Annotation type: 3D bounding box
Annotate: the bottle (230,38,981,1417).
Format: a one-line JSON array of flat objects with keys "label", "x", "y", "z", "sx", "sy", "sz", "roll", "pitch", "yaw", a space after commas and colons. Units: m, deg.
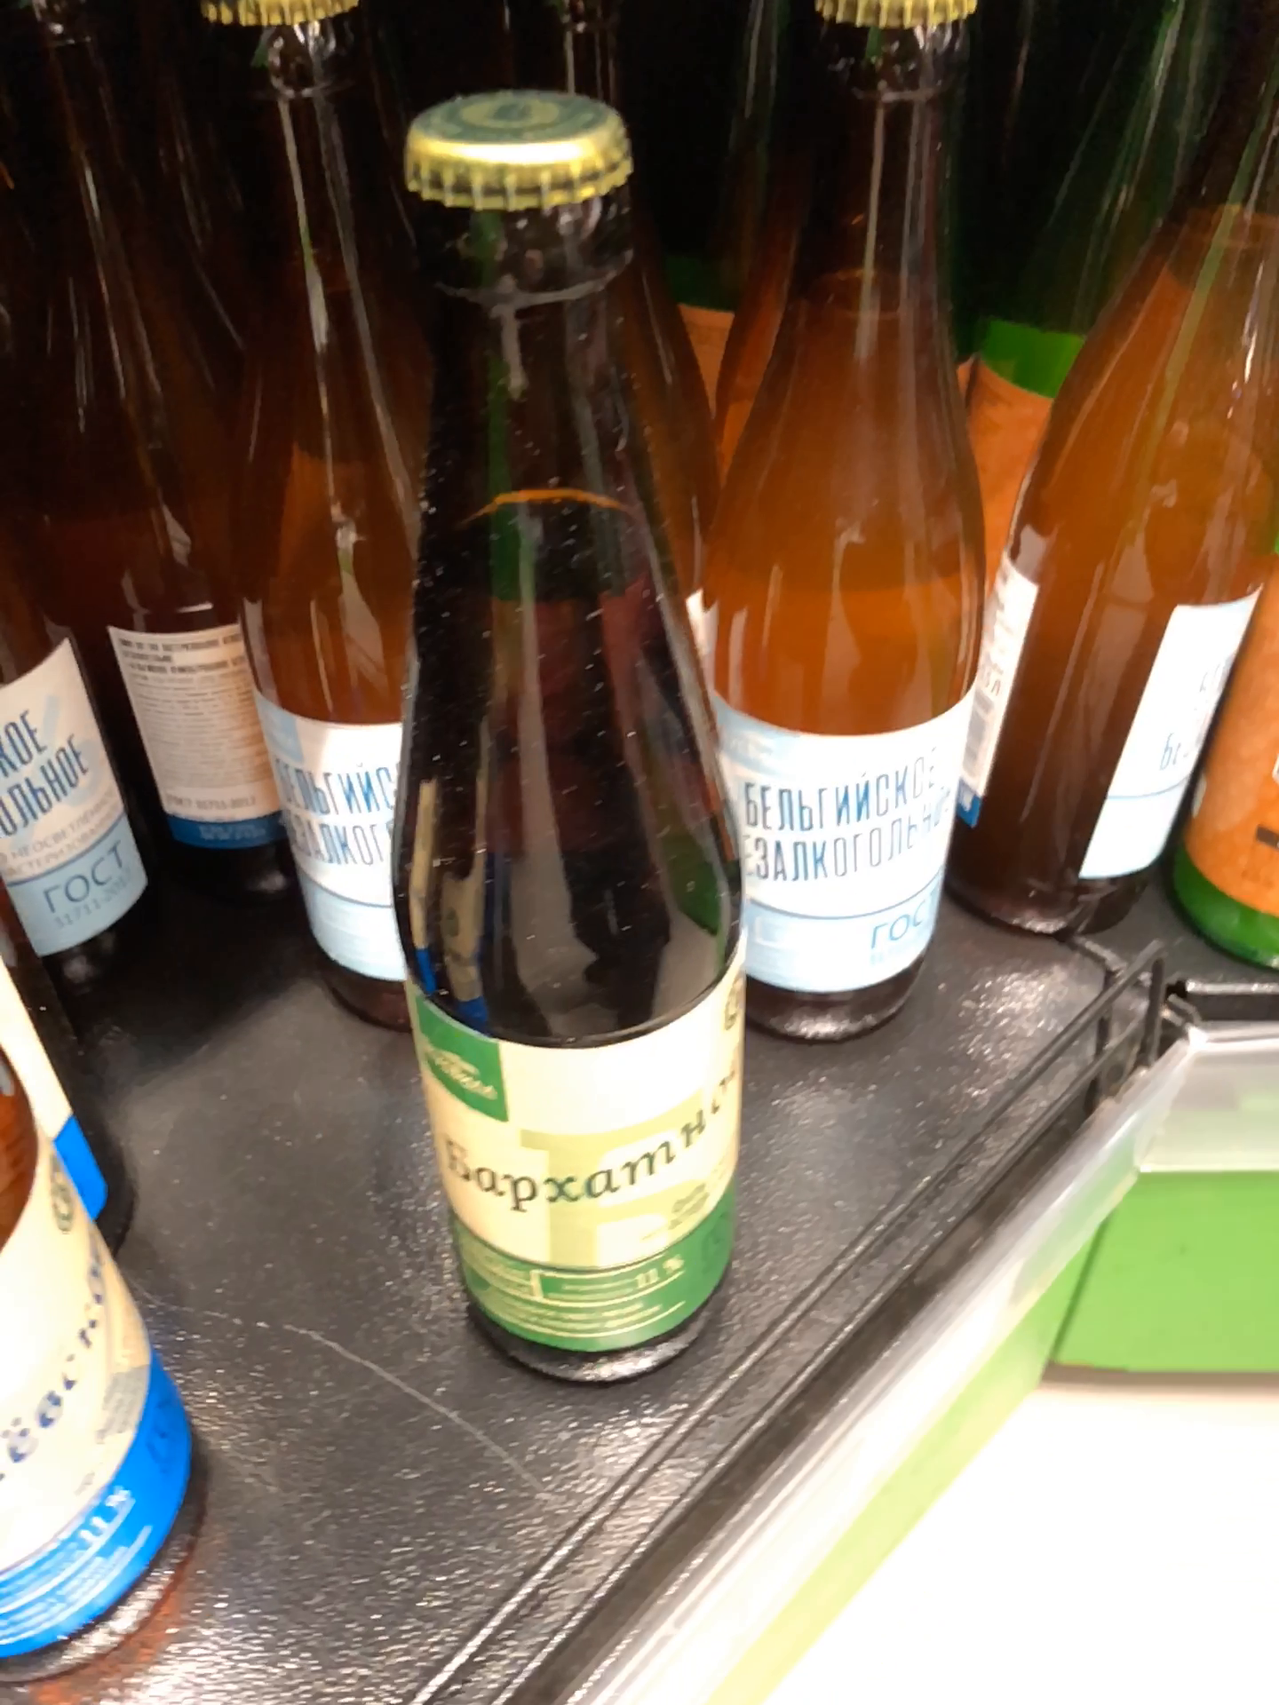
[{"label": "bottle", "x": -0.008, "y": 0.002, "z": 0.258, "sx": 0.080, "sy": 0.249, "sz": 0.070, "roll": -7, "pitch": 42, "yaw": -7}]
